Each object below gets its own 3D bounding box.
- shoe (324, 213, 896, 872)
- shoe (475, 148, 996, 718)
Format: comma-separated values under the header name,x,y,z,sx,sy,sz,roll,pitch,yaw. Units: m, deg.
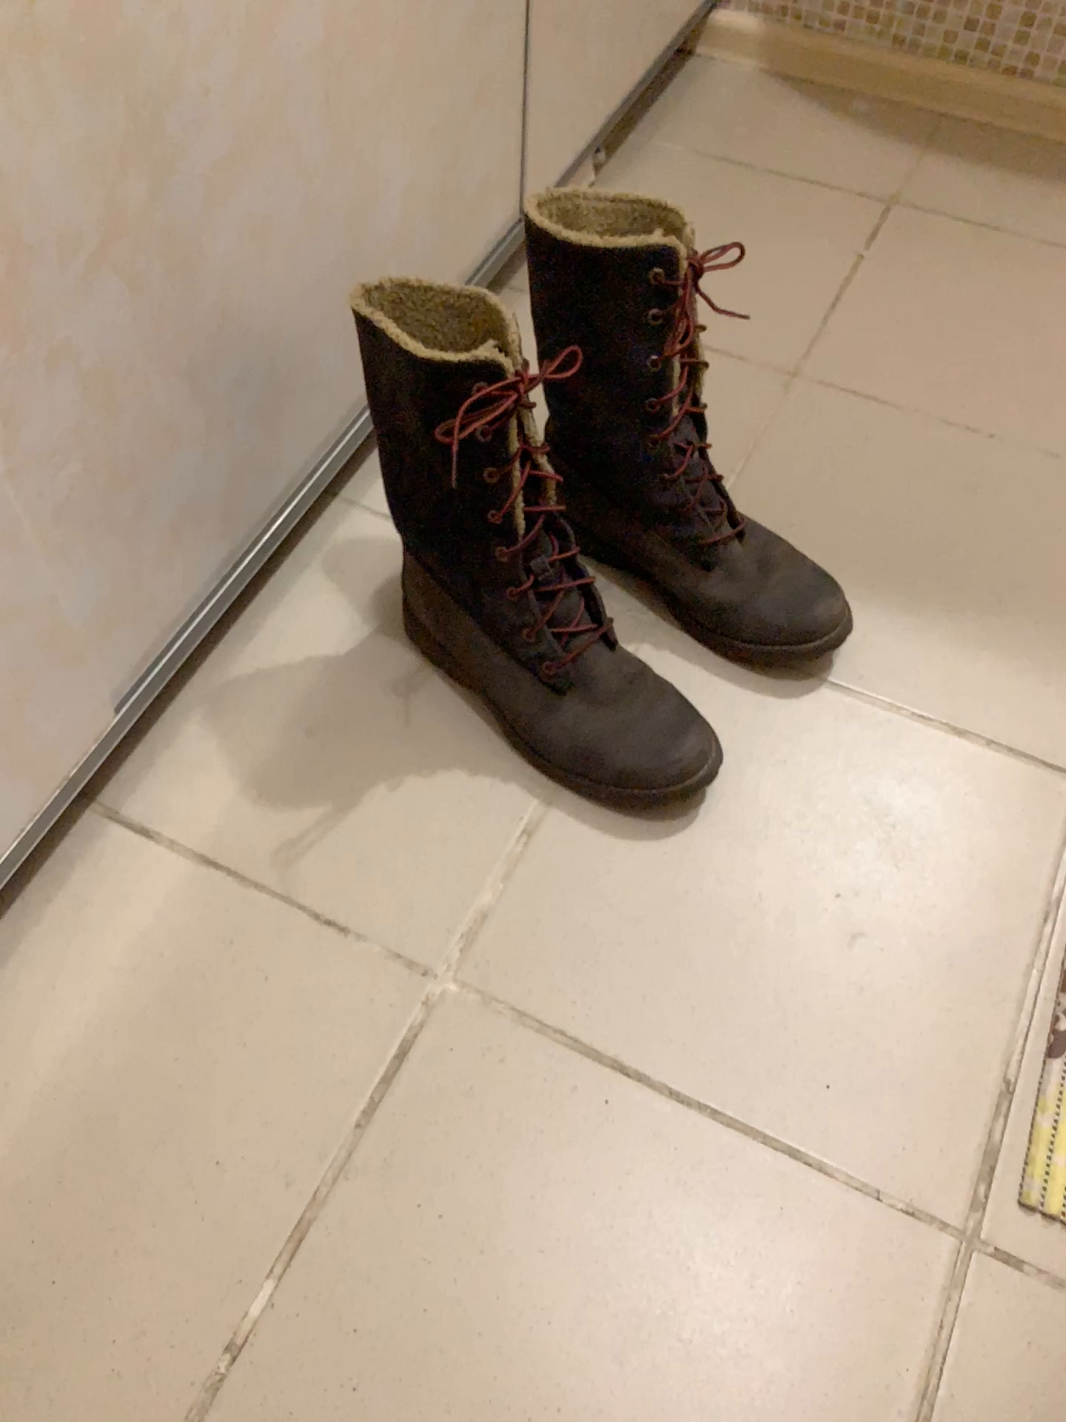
name,x,y,z,sx,sy,sz,roll,pitch,yaw
shoe,0.021,-0.091,0.624,0.280,0.249,0.100,39,59,24
shoe,0.105,-0.170,0.714,0.280,0.249,0.100,36,65,19
